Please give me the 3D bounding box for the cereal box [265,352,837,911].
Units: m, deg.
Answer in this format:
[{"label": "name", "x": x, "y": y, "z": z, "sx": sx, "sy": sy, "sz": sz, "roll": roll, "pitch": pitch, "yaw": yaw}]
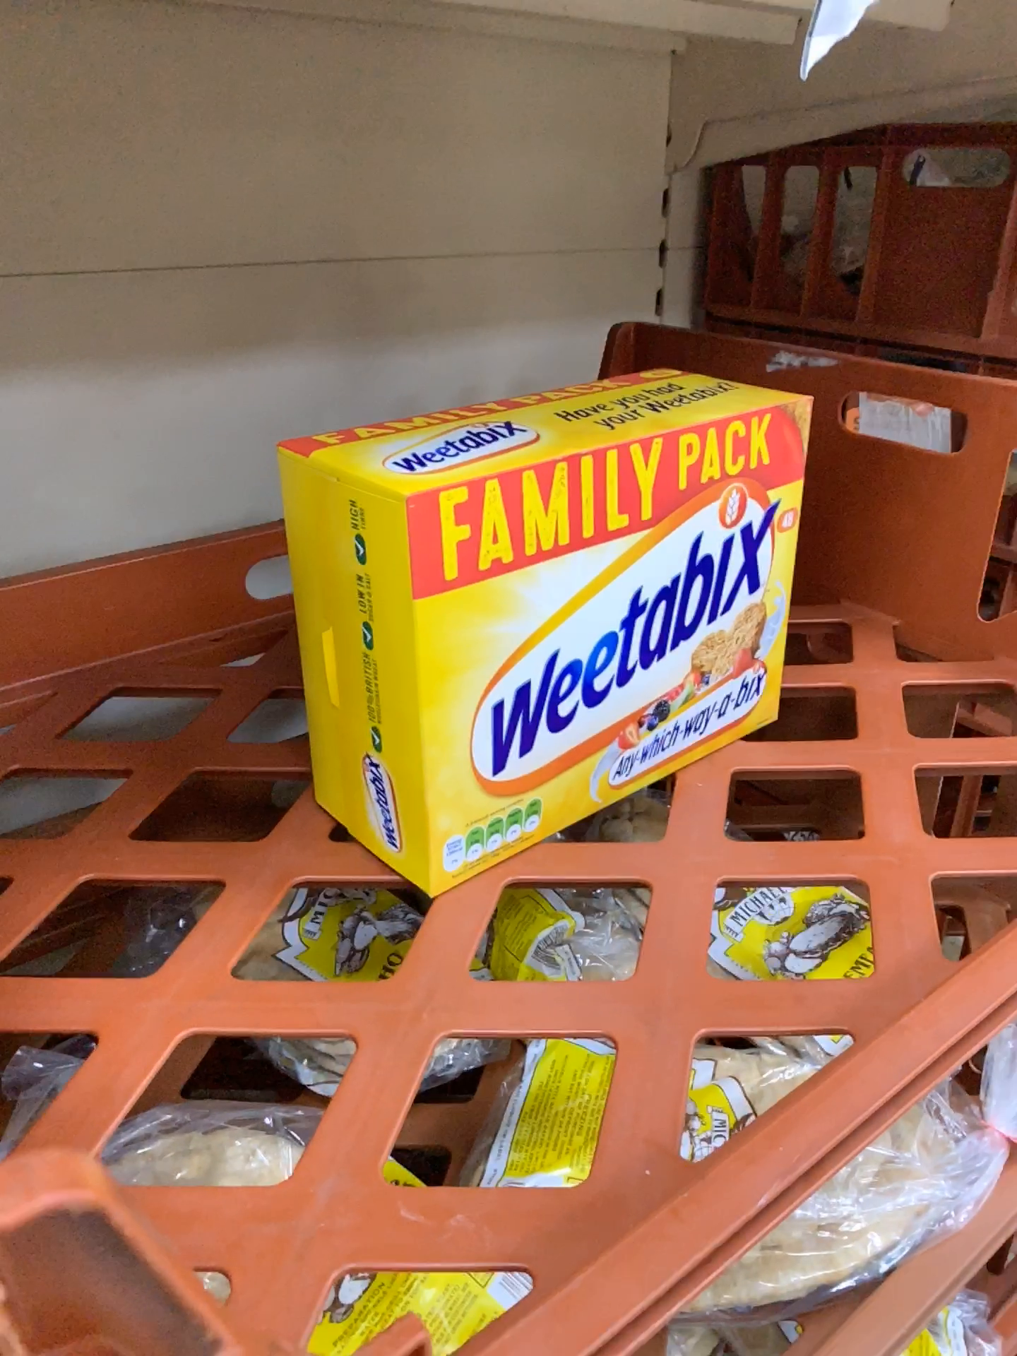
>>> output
[{"label": "cereal box", "x": 0.030, "y": -0.042, "z": 0.510, "sx": 0.261, "sy": 0.188, "sz": 0.100, "roll": -21, "pitch": 33, "yaw": -37}]
